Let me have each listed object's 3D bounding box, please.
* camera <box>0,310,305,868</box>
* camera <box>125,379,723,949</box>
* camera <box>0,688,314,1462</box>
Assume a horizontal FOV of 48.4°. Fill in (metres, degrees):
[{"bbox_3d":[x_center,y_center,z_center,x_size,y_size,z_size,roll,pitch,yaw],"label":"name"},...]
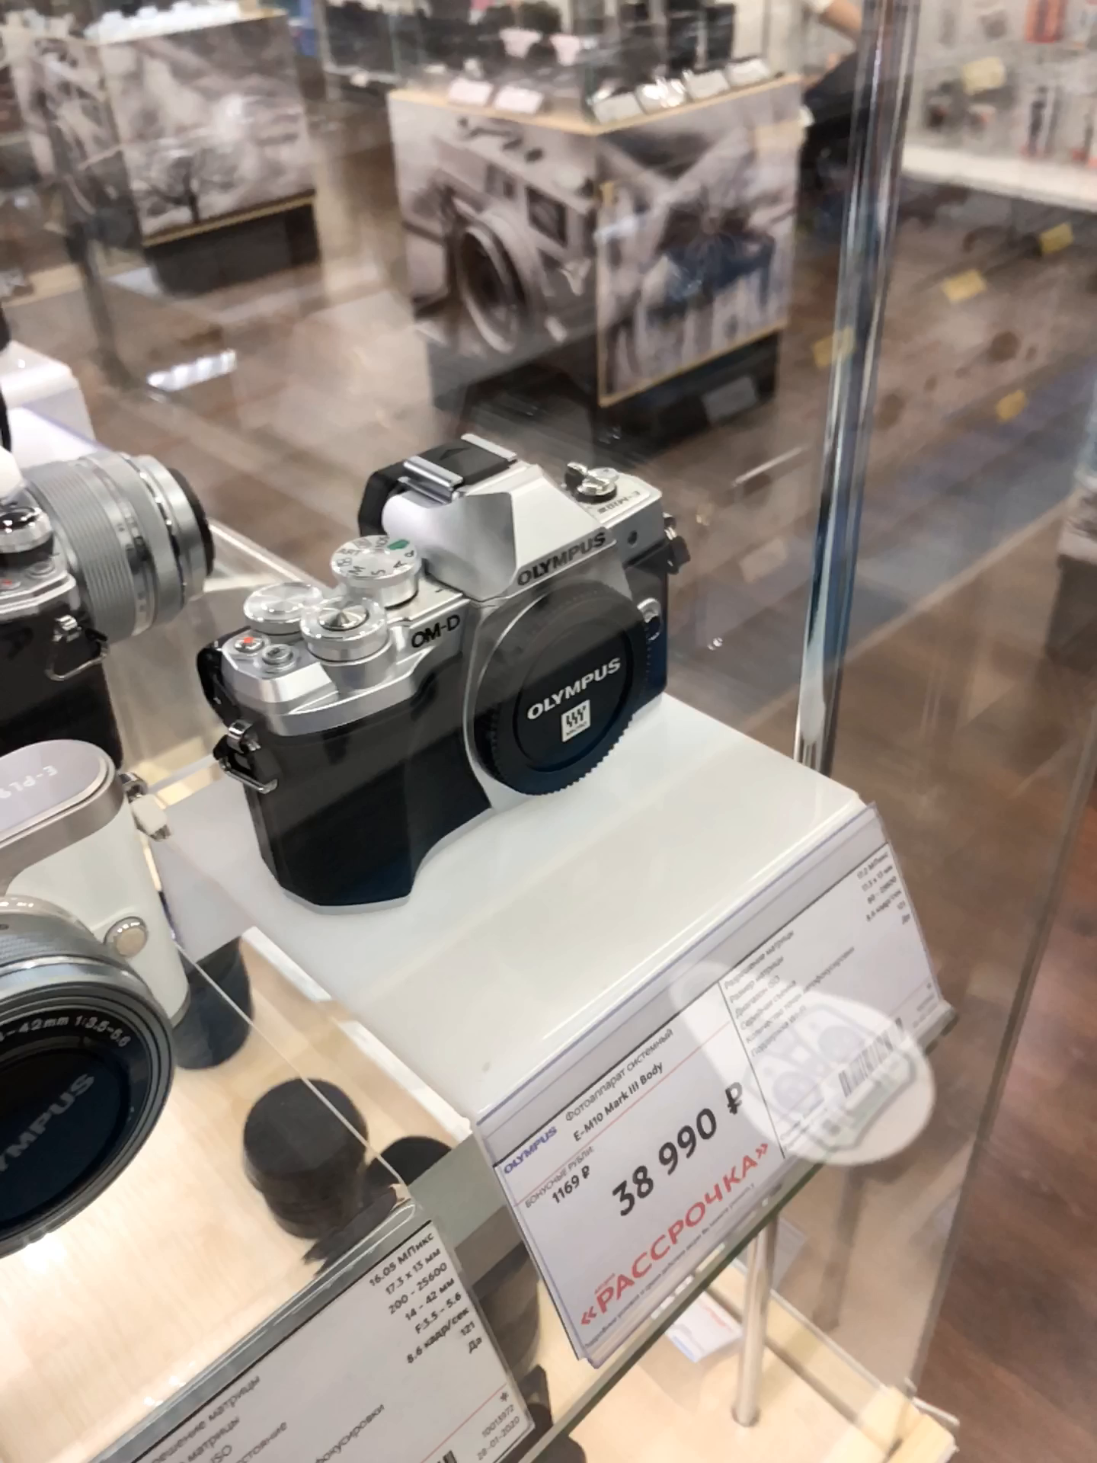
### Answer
[{"bbox_3d":[-0.158,-0.050,0.346,0.136,0.084,0.102,28,47,34],"label":"camera"},{"bbox_3d":[-0.023,-0.023,0.298,0.122,0.077,0.064,-32,46,-32],"label":"camera"},{"bbox_3d":[-0.118,0.060,0.218,0.125,0.068,0.068,-31,45,-32],"label":"camera"}]
